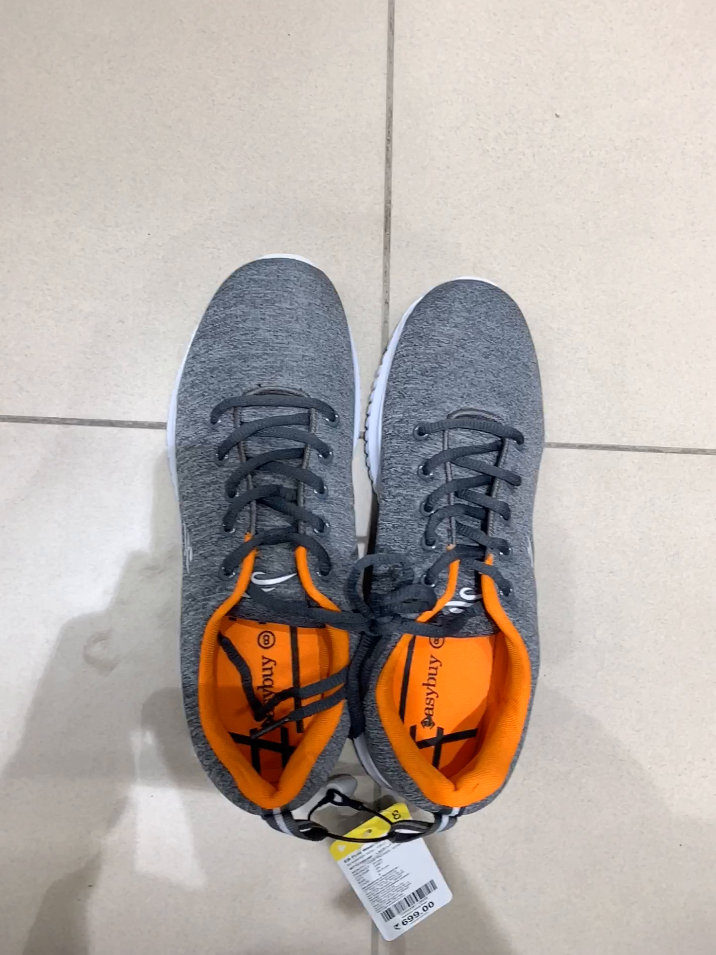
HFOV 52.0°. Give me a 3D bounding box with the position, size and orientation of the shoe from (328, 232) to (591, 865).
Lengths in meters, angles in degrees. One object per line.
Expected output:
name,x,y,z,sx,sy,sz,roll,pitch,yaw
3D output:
shoe,0.052,0.035,0.403,0.100,0.090,0.300,6,84,-8

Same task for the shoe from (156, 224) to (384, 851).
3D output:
shoe,-0.046,0.026,0.380,0.100,0.090,0.280,0,85,-9
